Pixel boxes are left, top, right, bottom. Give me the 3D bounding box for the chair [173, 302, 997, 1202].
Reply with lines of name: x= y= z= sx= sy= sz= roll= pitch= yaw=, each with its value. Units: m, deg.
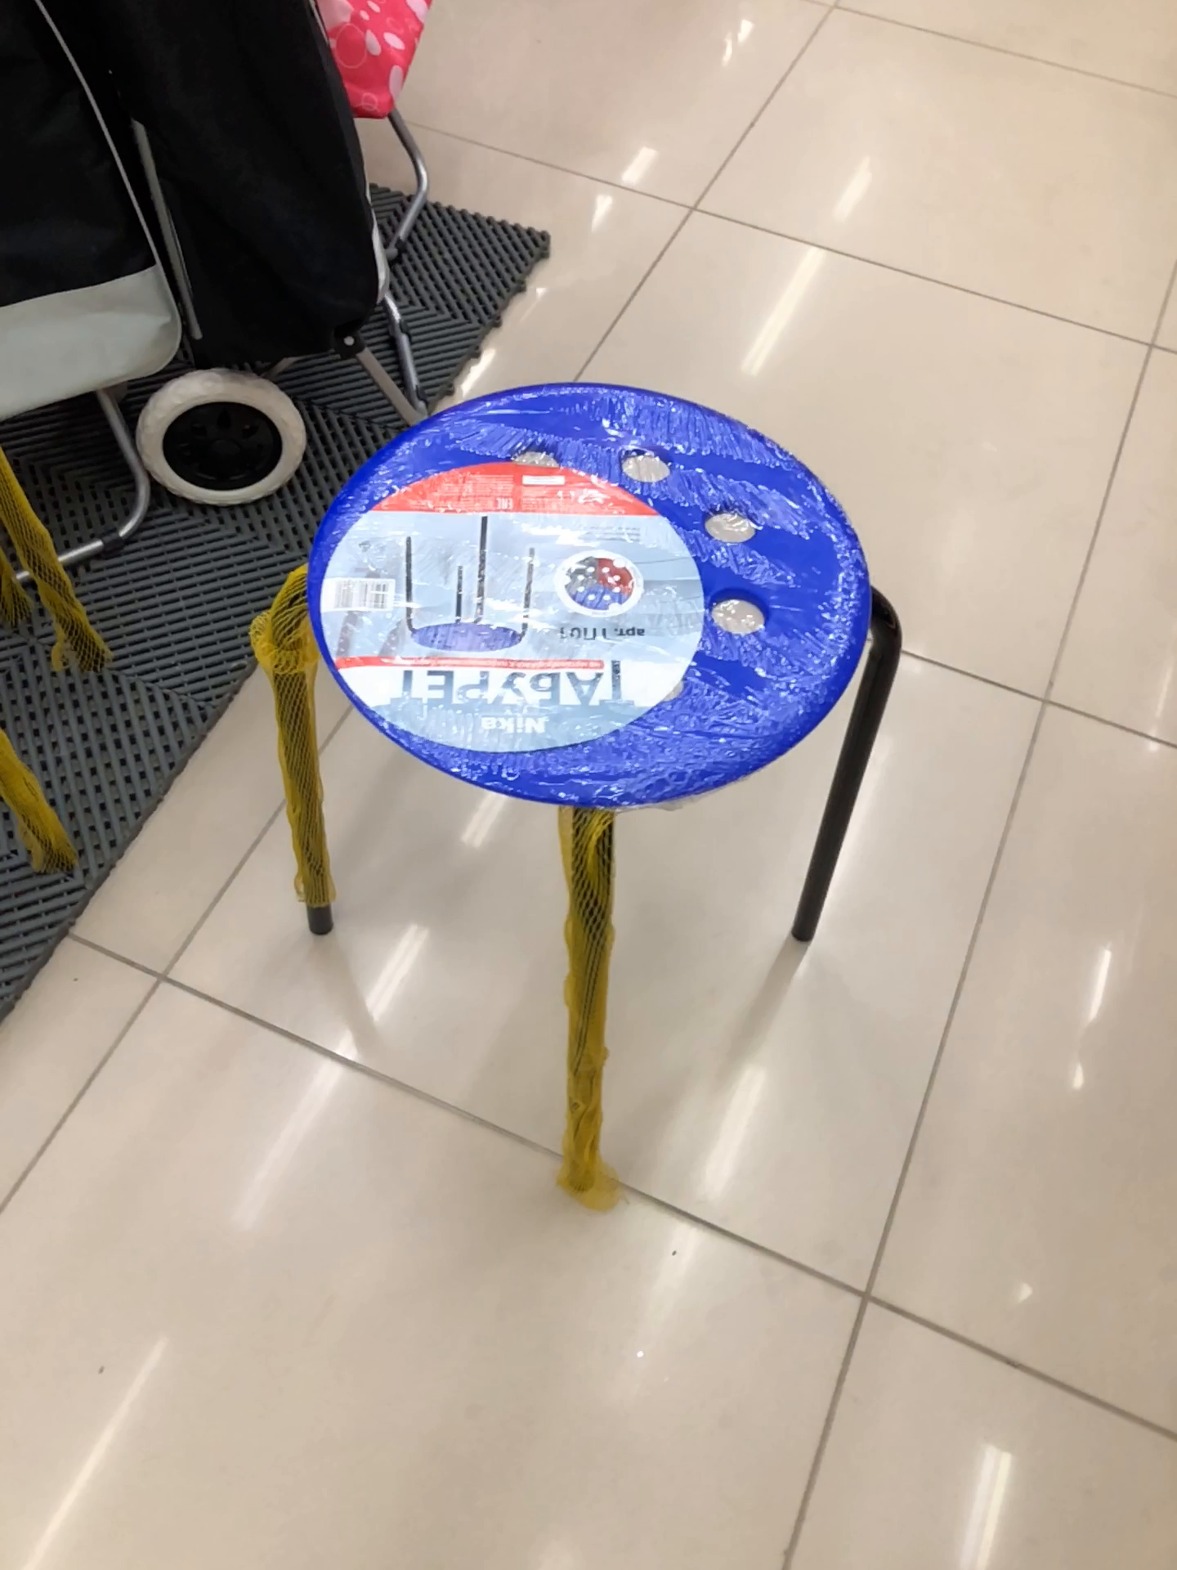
chair: x=-0.008 y=-0.006 z=0.886 sx=0.324 sy=0.426 sz=0.321 roll=39 pitch=62 yaw=21
